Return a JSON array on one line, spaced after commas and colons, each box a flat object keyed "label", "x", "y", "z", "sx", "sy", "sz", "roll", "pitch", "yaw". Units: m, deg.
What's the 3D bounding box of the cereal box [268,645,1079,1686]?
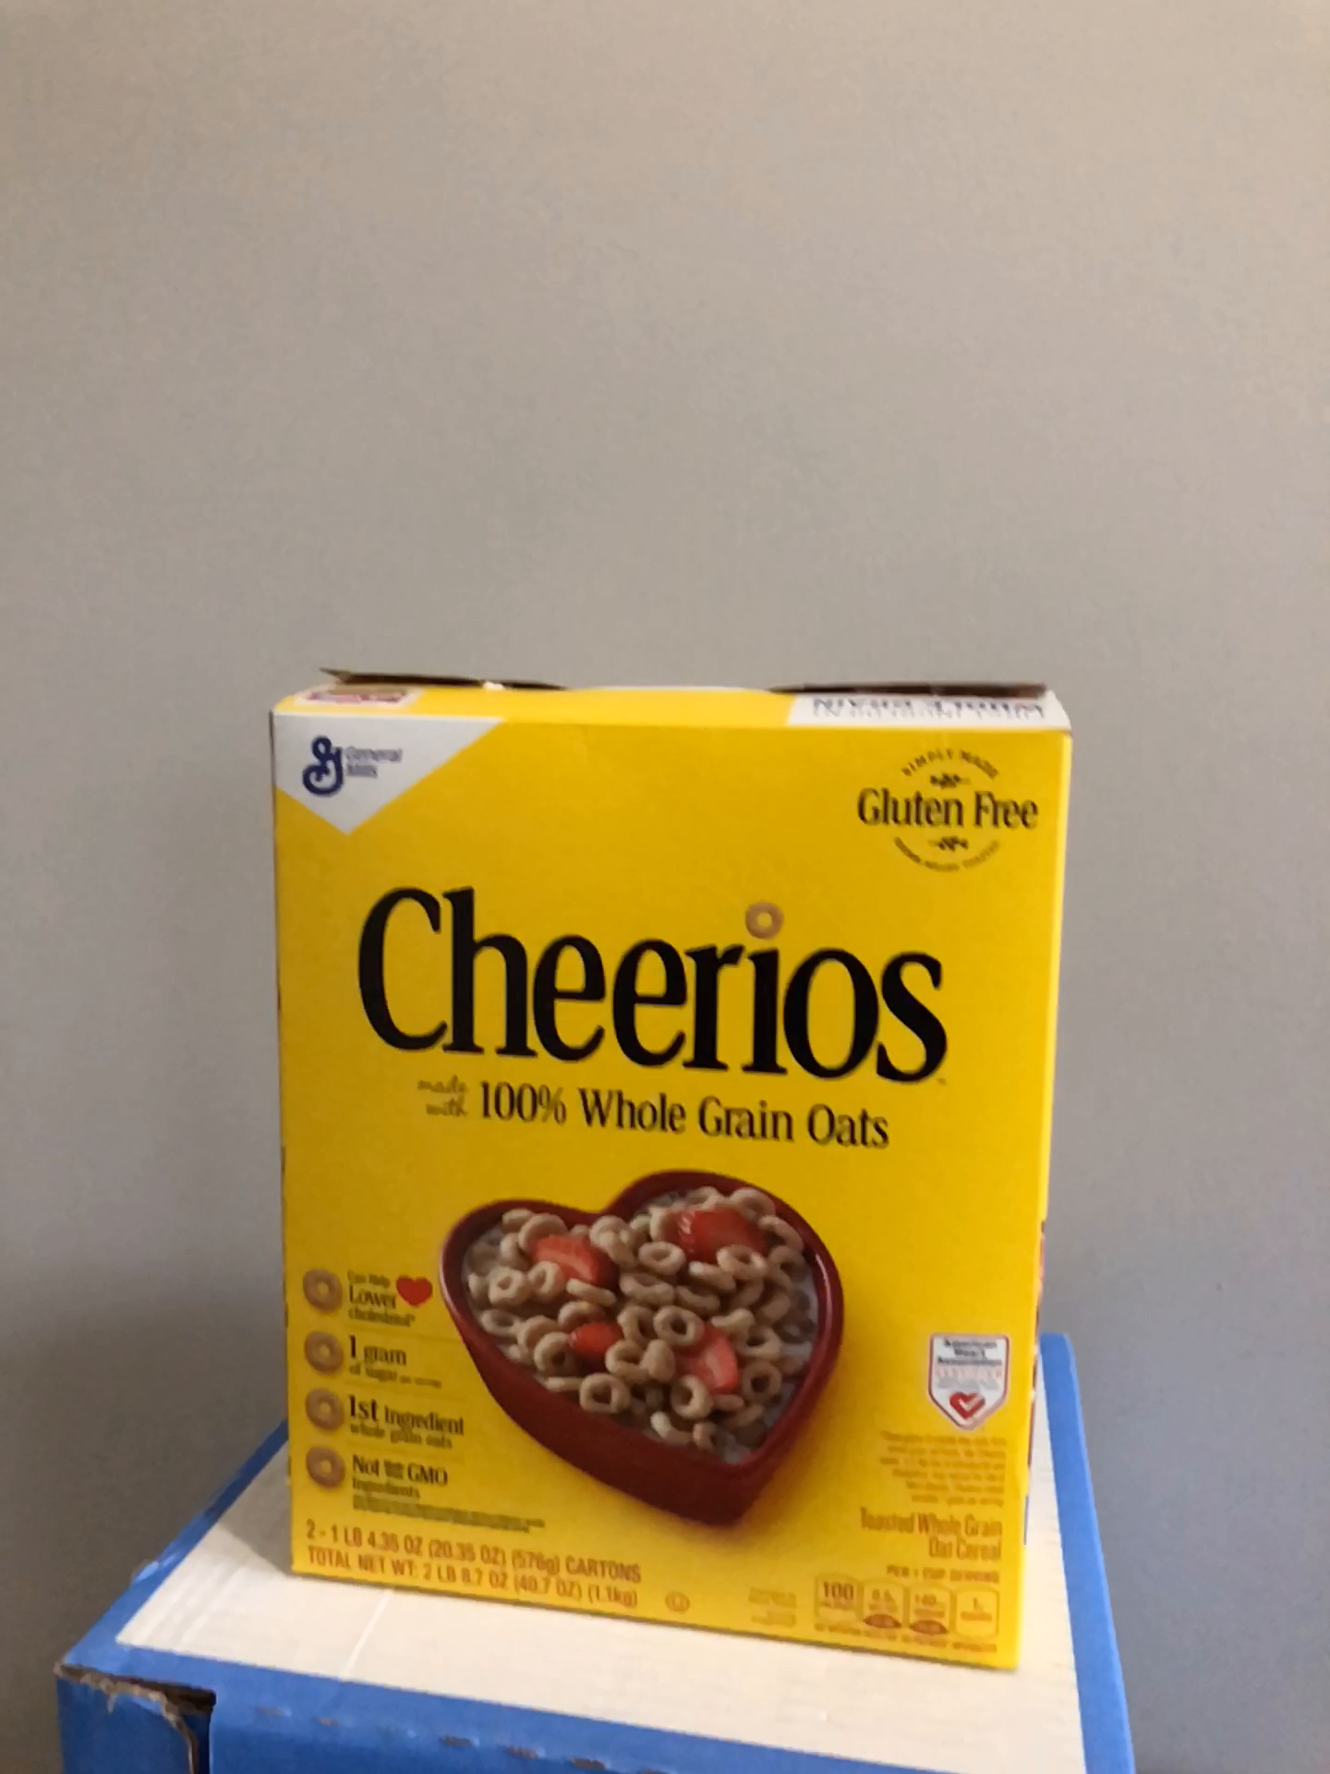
[{"label": "cereal box", "x": 0.004, "y": 0.077, "z": 0.492, "sx": 0.240, "sy": 0.309, "sz": 0.090, "roll": 2, "pitch": 8, "yaw": 11}]
